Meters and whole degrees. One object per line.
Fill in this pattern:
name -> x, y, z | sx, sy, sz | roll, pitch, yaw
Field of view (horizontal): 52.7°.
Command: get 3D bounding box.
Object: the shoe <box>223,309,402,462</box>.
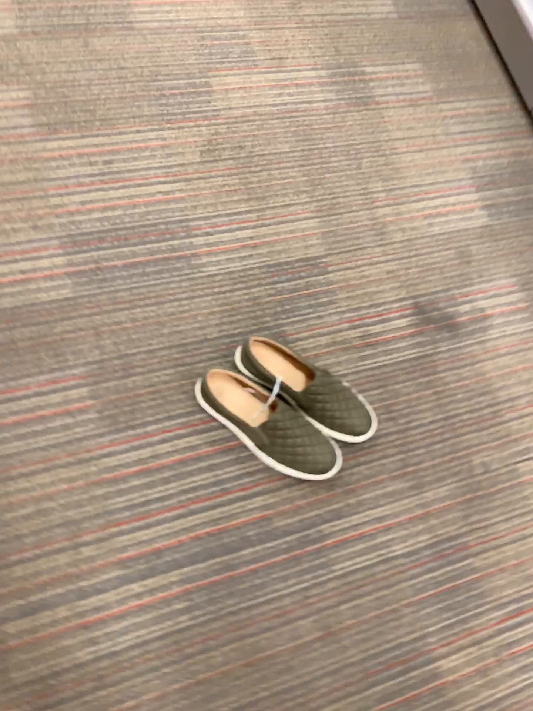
shoe -> 0.076, 0.058, 0.960 | 0.290, 0.110, 0.100 | 35, 68, 2

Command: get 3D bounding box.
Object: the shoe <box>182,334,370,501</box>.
shoe -> 0.007, 0.109, 0.901 | 0.290, 0.130, 0.100 | 37, 68, 3
